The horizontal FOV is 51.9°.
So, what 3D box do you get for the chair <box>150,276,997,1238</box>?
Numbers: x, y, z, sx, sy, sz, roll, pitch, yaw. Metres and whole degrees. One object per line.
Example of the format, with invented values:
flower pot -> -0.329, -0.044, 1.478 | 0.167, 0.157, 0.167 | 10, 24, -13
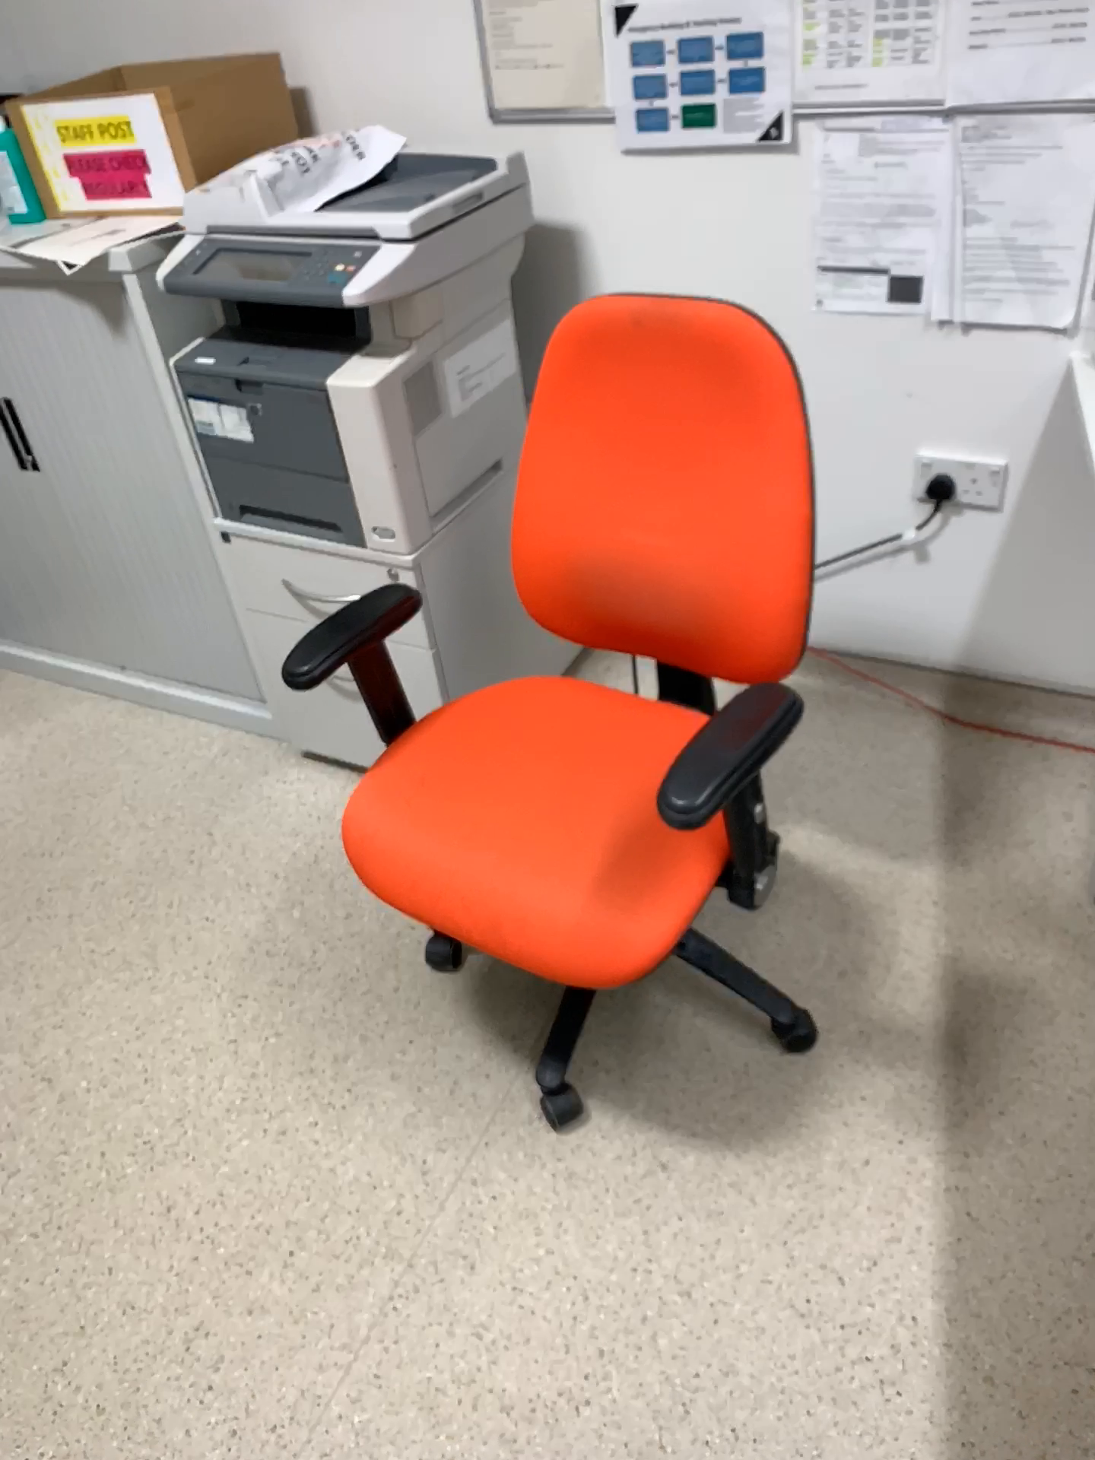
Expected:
chair -> 0.093, -0.010, 1.492 | 0.653, 0.893, 0.688 | 19, 45, 31
